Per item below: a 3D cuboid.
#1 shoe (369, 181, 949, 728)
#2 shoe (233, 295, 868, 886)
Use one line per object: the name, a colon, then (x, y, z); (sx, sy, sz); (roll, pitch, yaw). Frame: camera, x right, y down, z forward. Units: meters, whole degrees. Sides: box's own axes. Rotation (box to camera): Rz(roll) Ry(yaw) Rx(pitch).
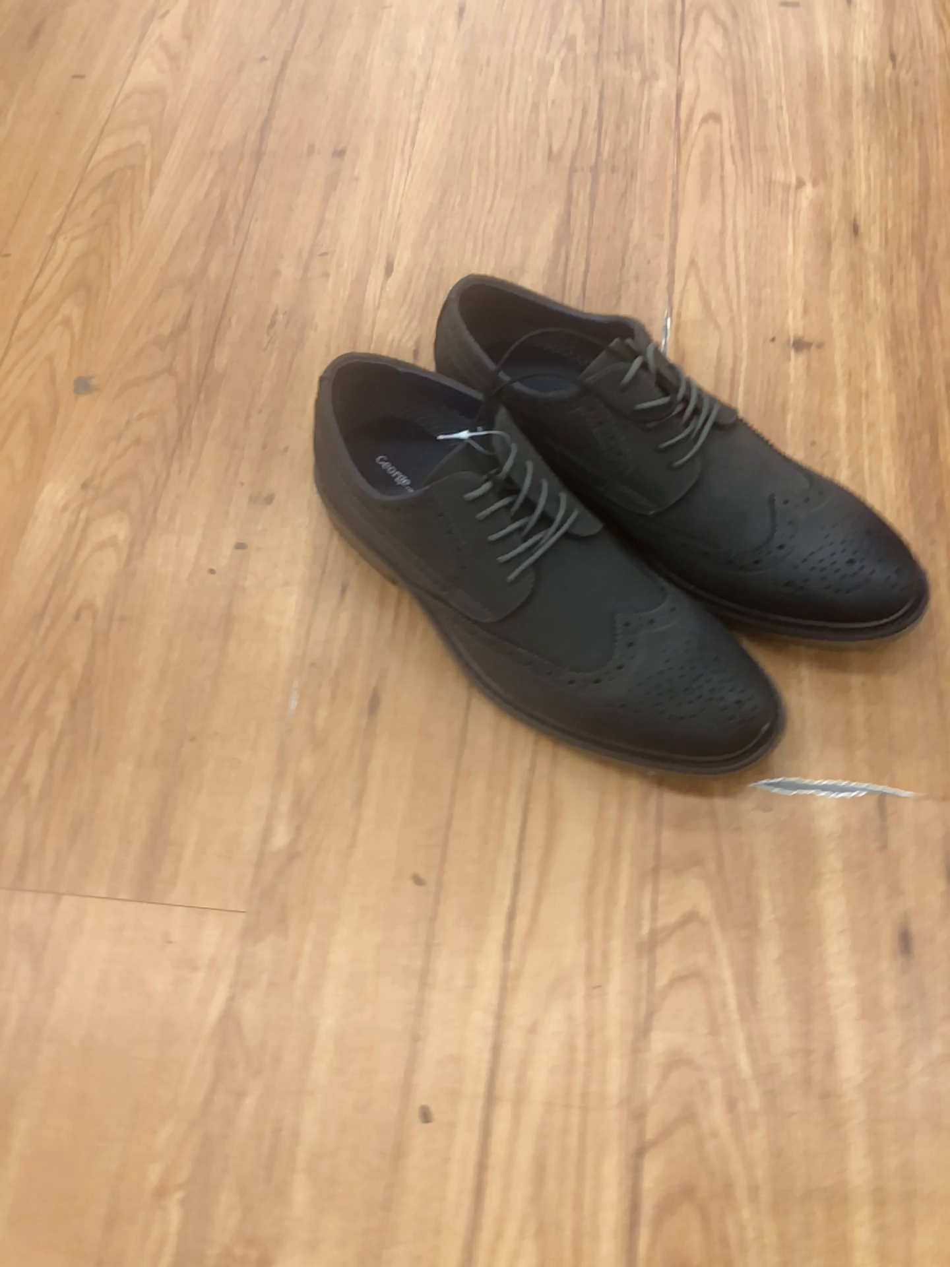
shoe: (0.097, -0.094, 0.517); (0.280, 0.110, 0.110); (34, 70, 22)
shoe: (0.026, -0.027, 0.511); (0.110, 0.110, 0.280); (-43, 65, -16)
